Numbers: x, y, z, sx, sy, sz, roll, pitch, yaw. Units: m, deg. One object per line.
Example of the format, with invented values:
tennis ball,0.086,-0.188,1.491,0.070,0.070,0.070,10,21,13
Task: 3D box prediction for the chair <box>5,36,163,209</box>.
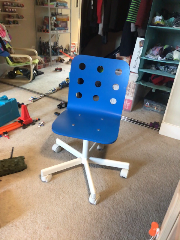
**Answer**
chair,-0.028,0.007,0.958,0.520,0.705,0.363,7,28,5
